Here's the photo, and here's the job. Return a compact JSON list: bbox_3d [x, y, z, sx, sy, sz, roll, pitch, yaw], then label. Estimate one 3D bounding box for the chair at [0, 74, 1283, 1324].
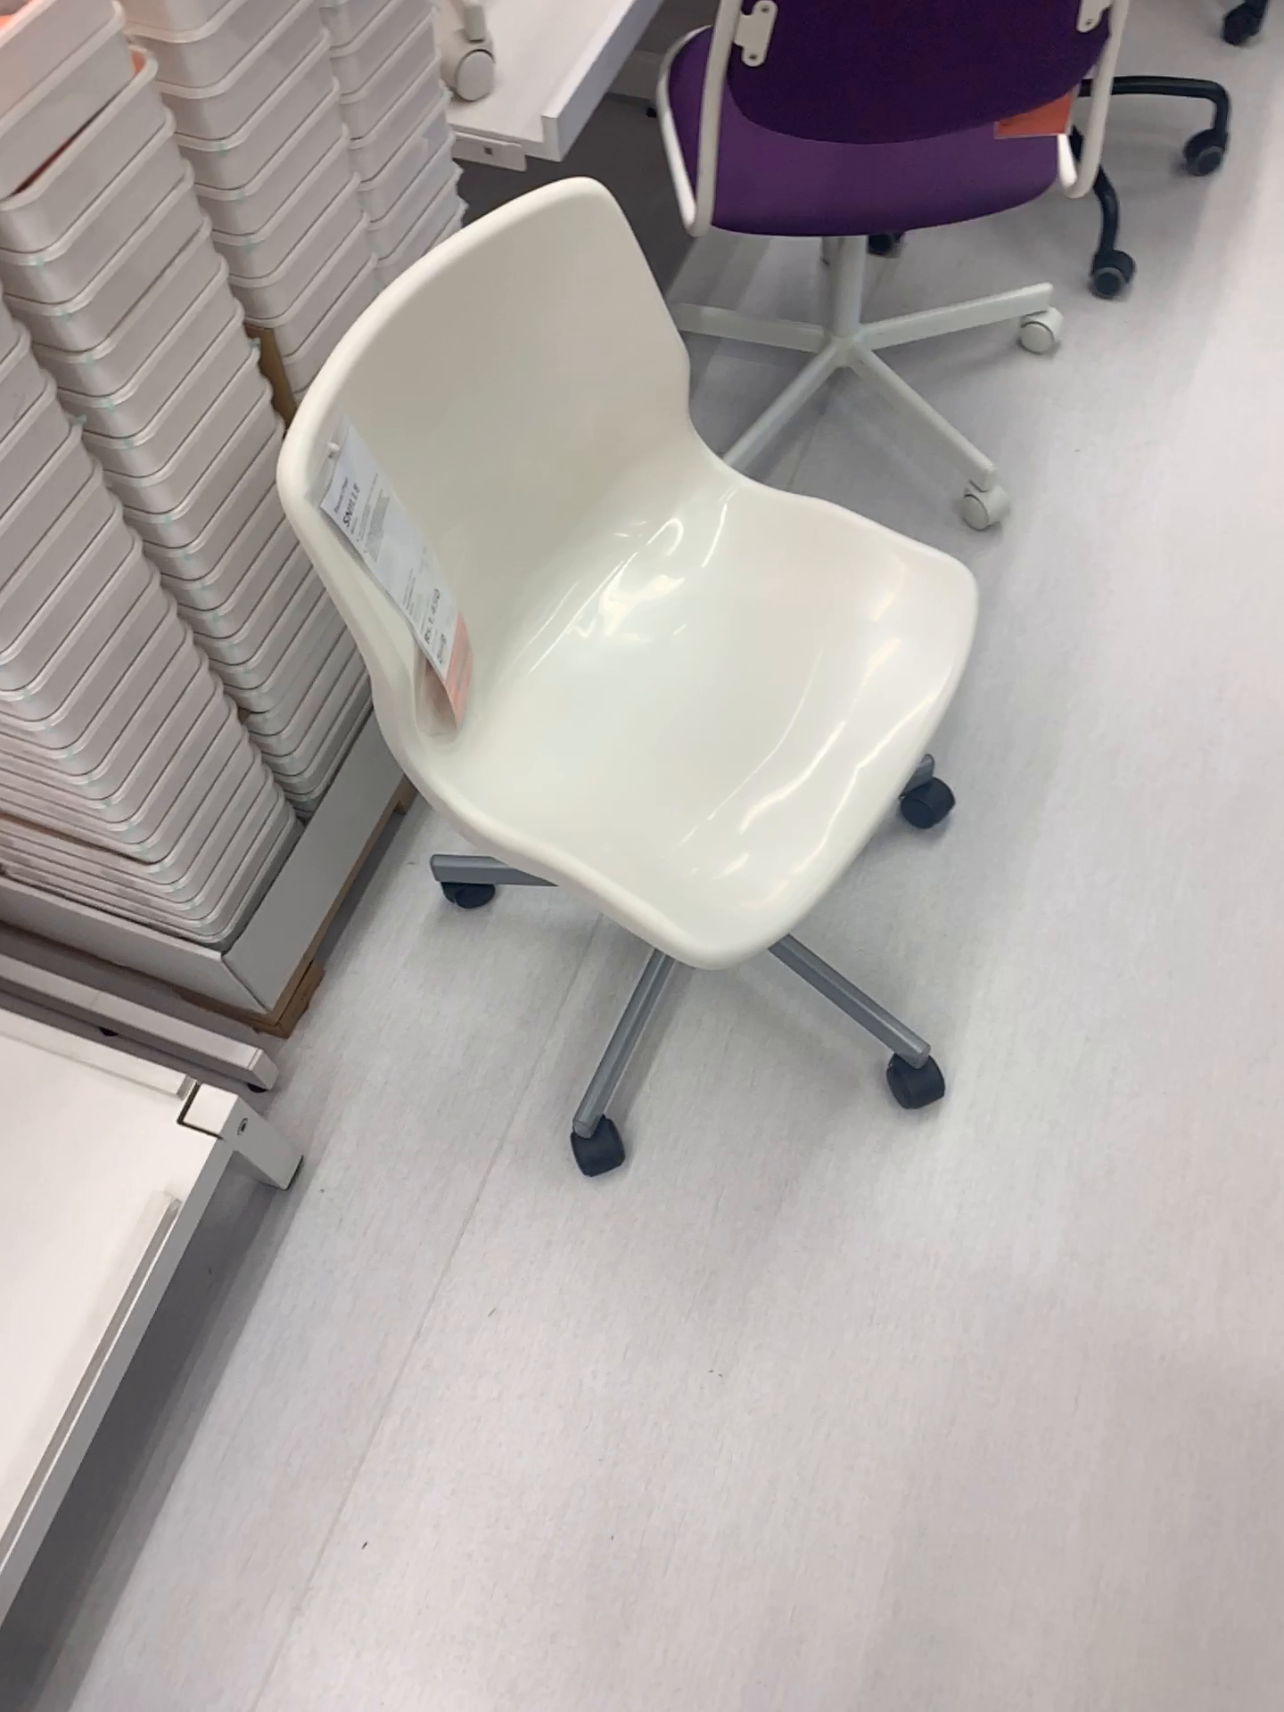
[{"bbox_3d":[0.056,-0.102,1.174,0.681,0.689,0.641,26,66,16],"label":"chair"}]
